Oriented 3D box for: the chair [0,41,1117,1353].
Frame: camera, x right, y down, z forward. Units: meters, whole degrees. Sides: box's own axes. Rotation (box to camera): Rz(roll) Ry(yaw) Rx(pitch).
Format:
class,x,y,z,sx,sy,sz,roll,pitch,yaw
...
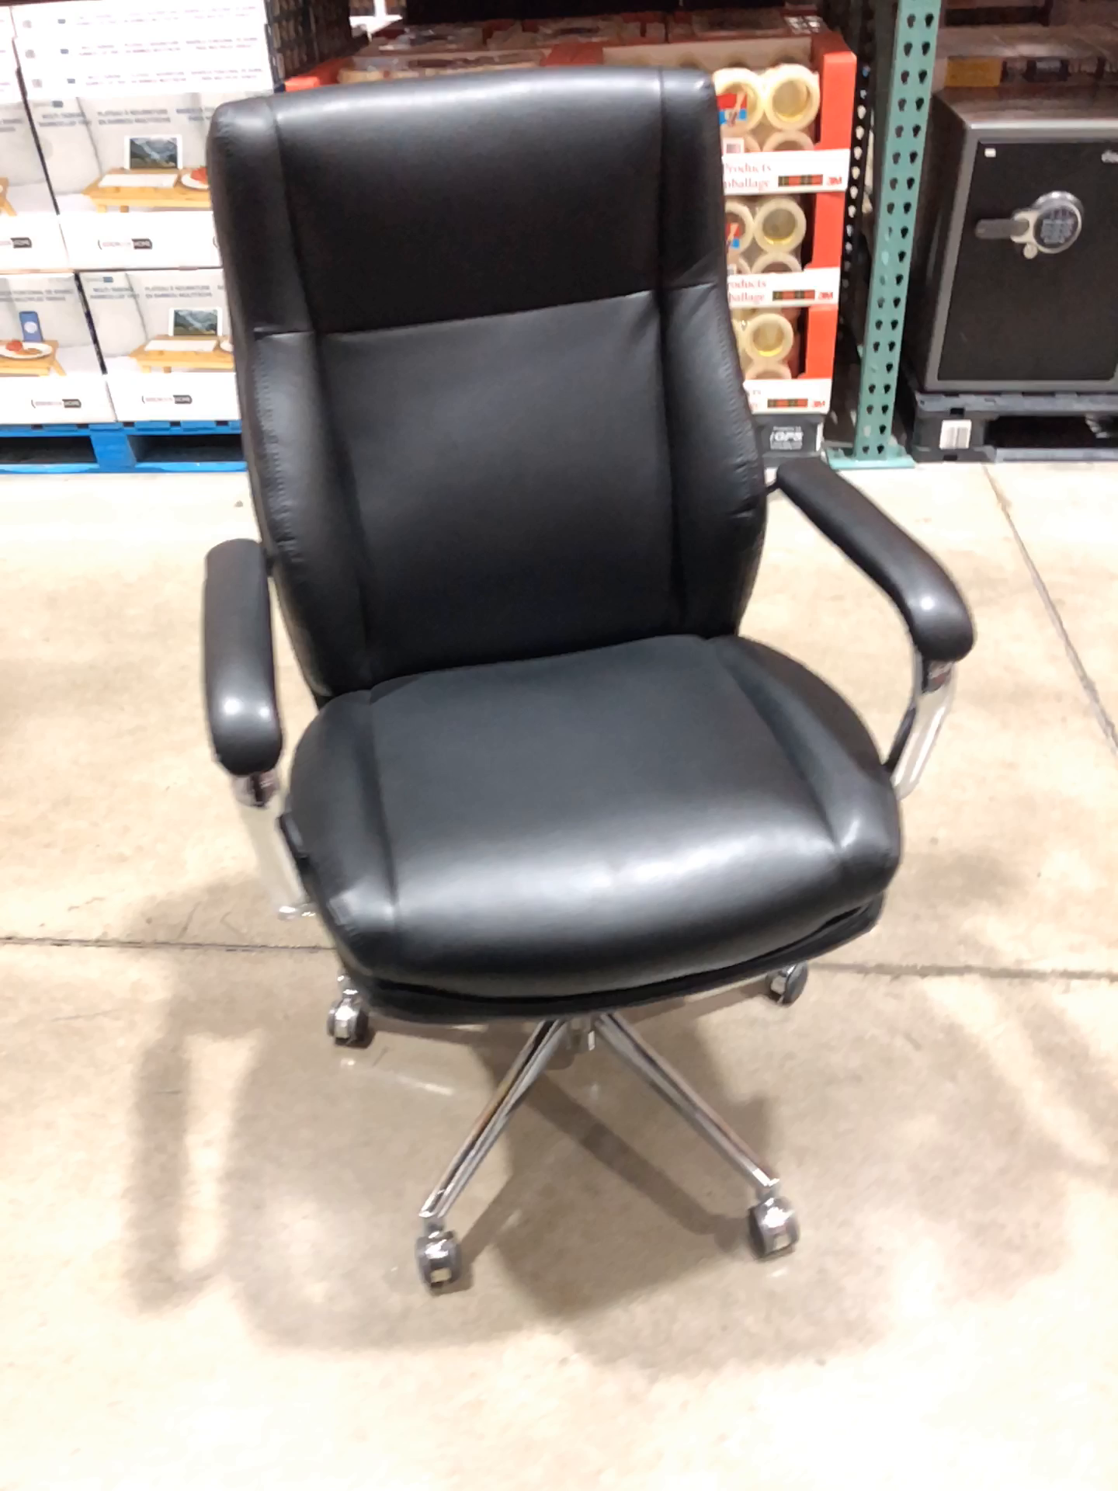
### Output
class,x,y,z,sx,sy,sz,roll,pitch,yaw
chair,0.001,-0.061,1.257,0.710,1.046,0.703,-8,36,-6
